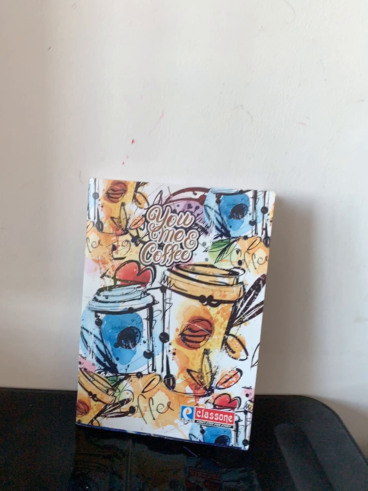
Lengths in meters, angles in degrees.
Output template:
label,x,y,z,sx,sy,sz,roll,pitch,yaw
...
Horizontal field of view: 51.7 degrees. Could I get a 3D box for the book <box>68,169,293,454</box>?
label,x,y,z,sx,sy,sz,roll,pitch,yaw
book,-0.009,0.075,0.446,0.220,0.300,0.050,6,7,2
